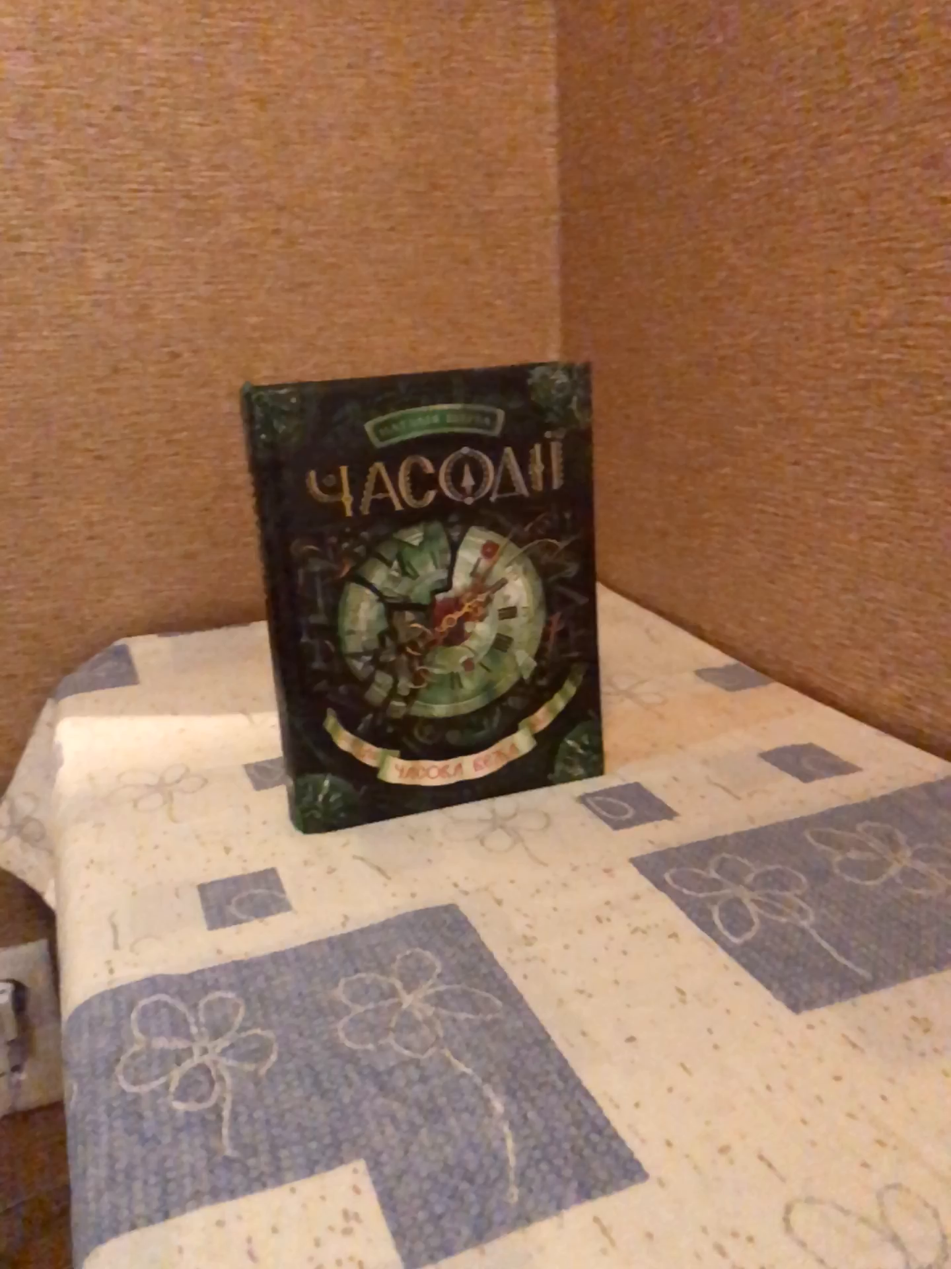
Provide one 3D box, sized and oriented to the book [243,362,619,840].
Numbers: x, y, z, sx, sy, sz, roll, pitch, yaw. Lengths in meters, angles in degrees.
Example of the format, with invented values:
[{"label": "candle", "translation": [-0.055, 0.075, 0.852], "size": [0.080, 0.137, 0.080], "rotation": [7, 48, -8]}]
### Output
[{"label": "book", "translation": [-0.016, -0.020, 0.521], "size": [0.173, 0.216, 0.040], "rotation": [-7, 16, -16]}]
